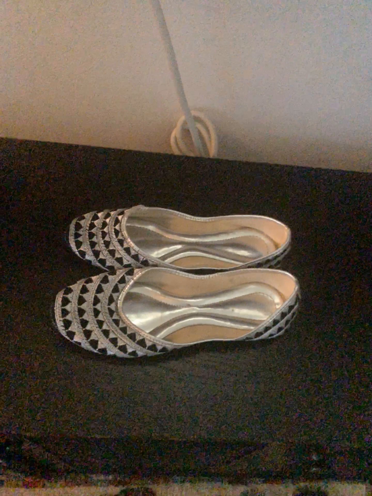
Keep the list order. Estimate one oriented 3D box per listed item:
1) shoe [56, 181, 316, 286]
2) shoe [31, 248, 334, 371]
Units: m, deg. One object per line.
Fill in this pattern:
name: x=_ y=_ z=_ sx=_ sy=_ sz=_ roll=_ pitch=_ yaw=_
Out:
shoe: x=-0.001 y=-0.015 z=0.455 sx=0.270 sy=0.069 sz=0.096 roll=1 pitch=55 yaw=-7
shoe: x=-0.003 y=0.060 z=0.398 sx=0.270 sy=0.069 sz=0.096 roll=-1 pitch=55 yaw=-8
